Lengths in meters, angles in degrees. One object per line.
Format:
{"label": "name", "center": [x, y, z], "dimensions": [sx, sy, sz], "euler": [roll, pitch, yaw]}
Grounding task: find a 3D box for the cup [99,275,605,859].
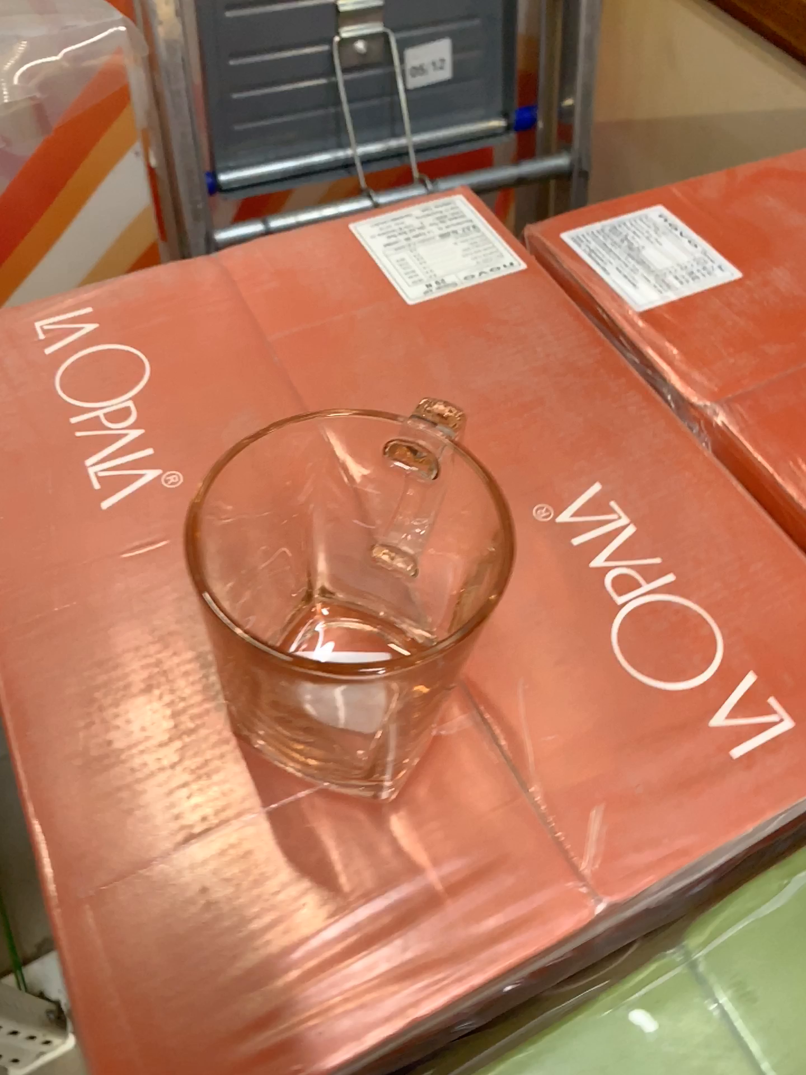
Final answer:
{"label": "cup", "center": [-0.008, 0.011, 0.237], "dimensions": [0.080, 0.110, 0.100], "euler": [22, 56, 12]}
